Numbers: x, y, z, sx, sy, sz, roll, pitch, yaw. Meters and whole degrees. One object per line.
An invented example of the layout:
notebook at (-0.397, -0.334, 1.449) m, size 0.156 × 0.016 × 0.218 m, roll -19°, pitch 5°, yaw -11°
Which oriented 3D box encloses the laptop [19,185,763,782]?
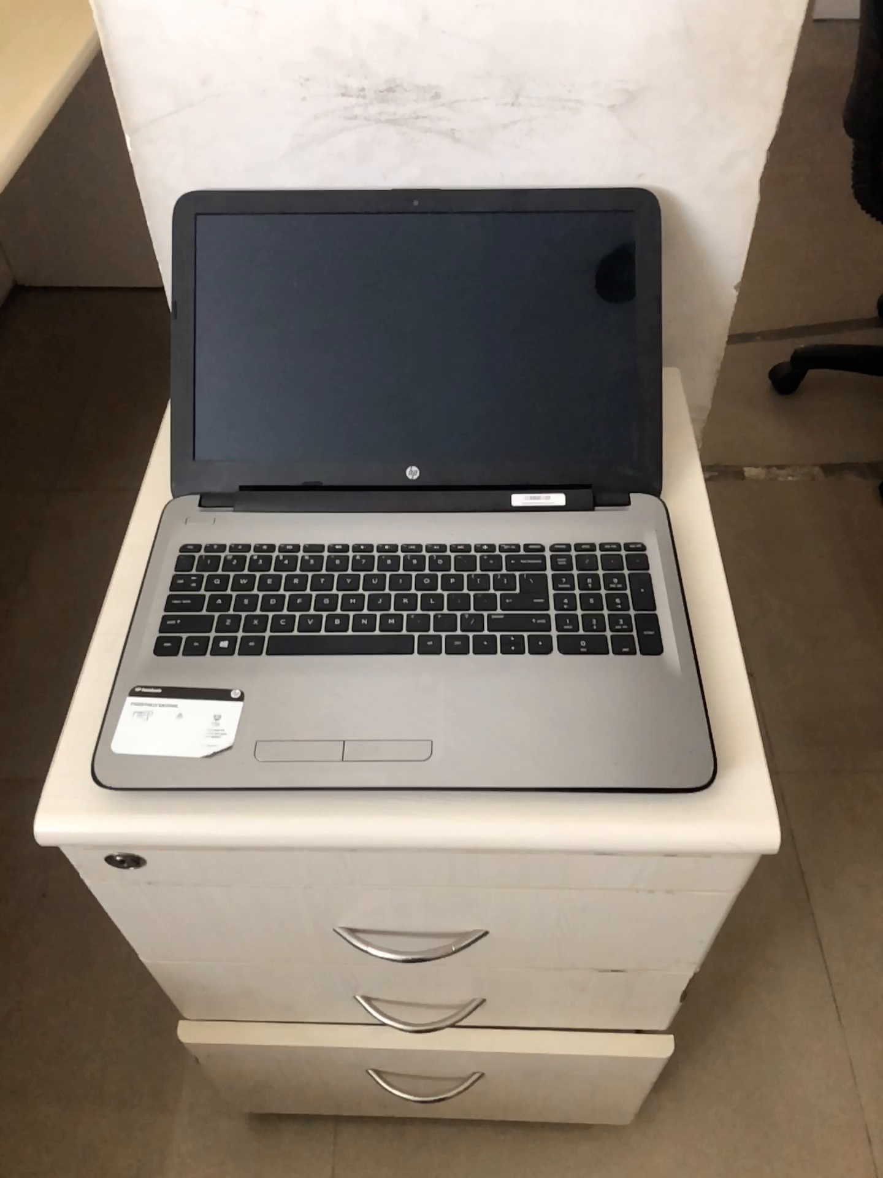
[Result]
laptop at (-0.021, -0.097, 0.657) m, size 0.361 × 0.136 × 0.427 m, roll 0°, pitch 51°, yaw 1°
